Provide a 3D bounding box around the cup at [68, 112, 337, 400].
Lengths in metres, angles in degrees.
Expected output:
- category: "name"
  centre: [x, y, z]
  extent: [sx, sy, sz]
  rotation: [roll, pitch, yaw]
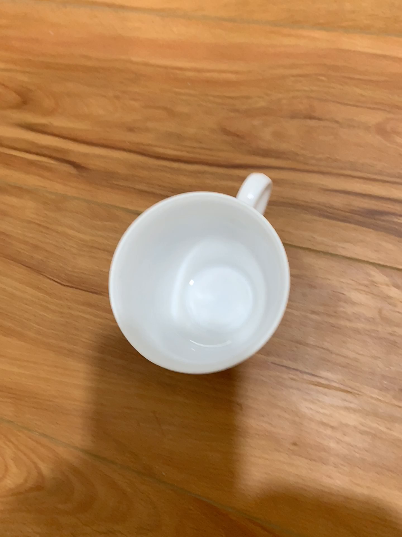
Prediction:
- category: "cup"
  centre: [0.005, -0.005, 0.207]
  extent: [0.083, 0.063, 0.103]
  rotation: [19, 82, 15]
